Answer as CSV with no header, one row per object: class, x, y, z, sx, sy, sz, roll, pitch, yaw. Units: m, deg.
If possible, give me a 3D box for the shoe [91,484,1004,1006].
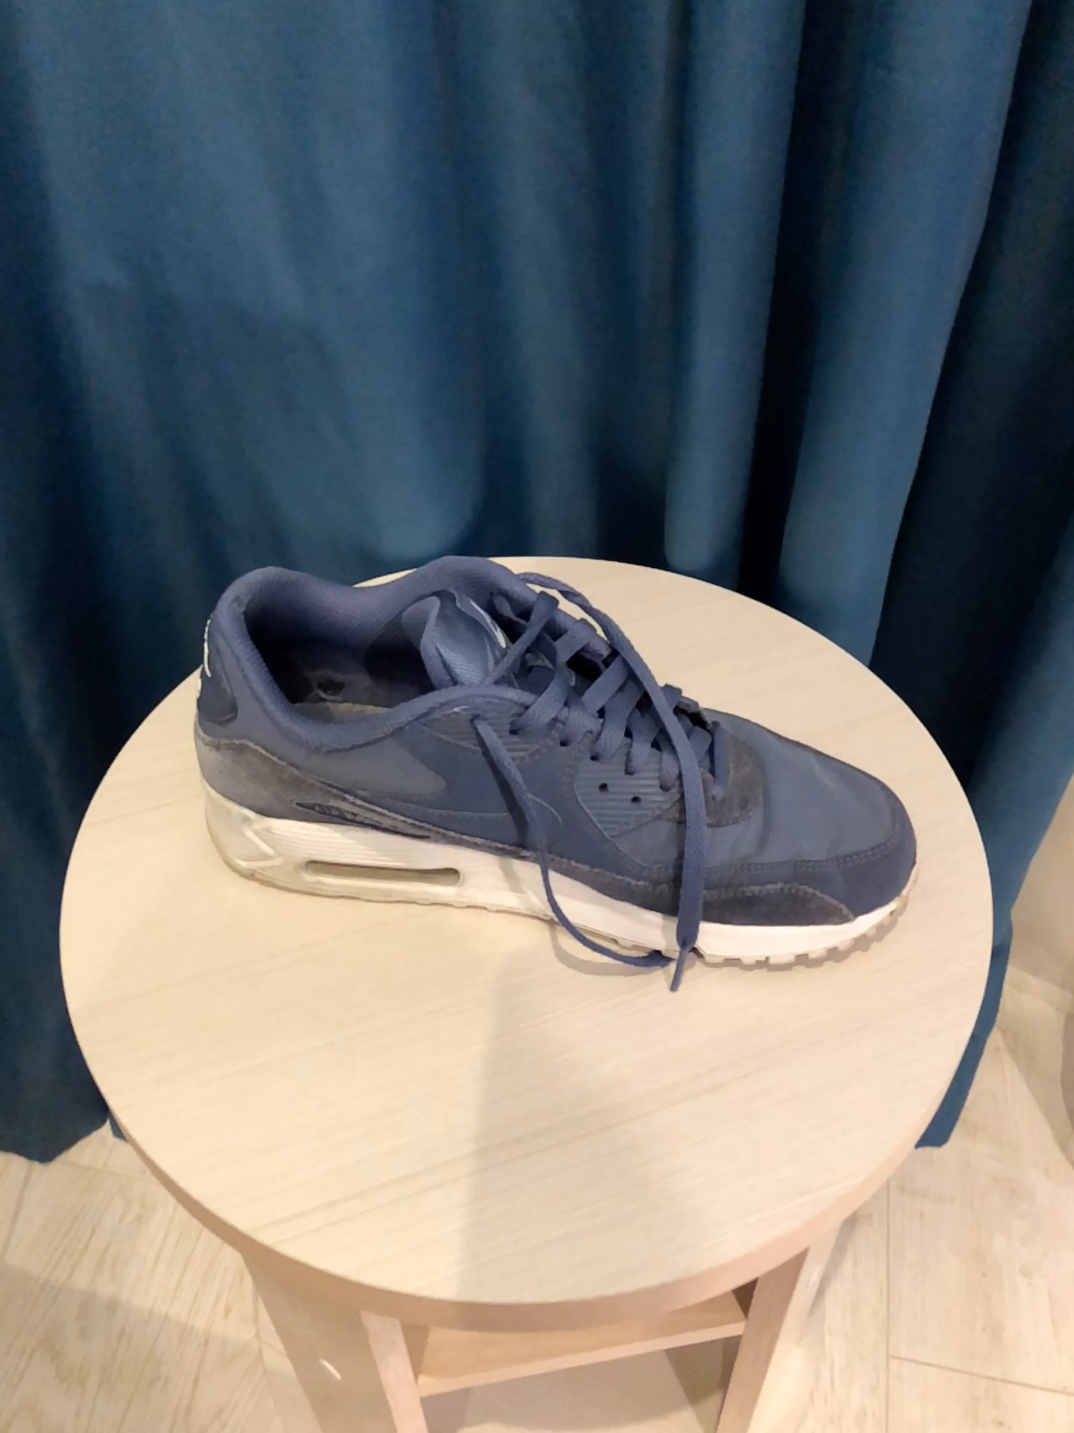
shoe,0.006,0.006,0.433,0.280,0.109,0.111,8,43,7
